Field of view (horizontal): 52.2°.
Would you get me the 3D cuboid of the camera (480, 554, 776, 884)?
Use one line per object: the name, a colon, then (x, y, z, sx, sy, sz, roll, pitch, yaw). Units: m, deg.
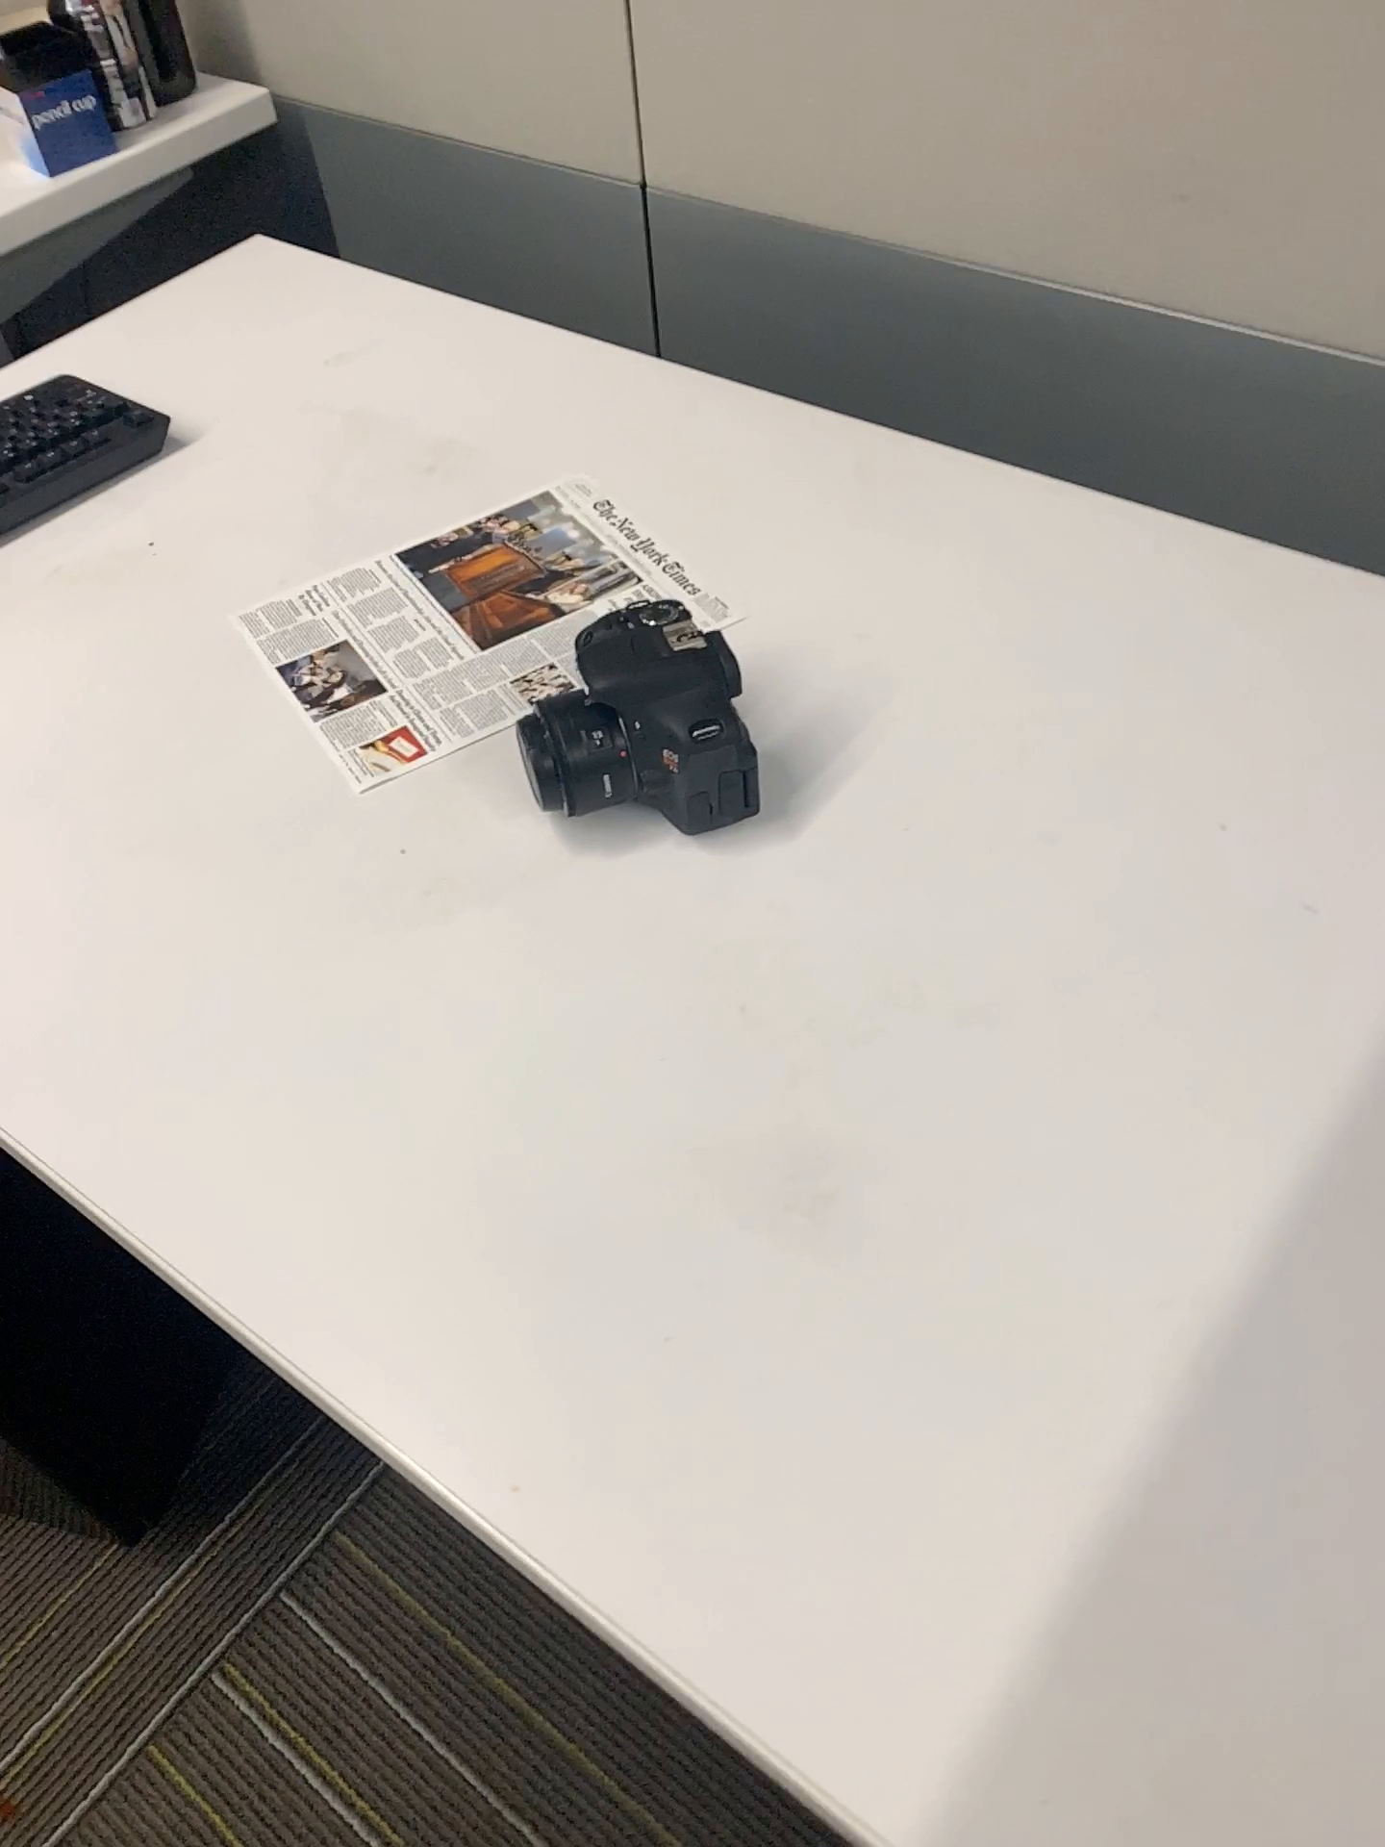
camera: (-0.036, -0.116, 0.784, 0.119, 0.090, 0.137, -18, 50, -10)
